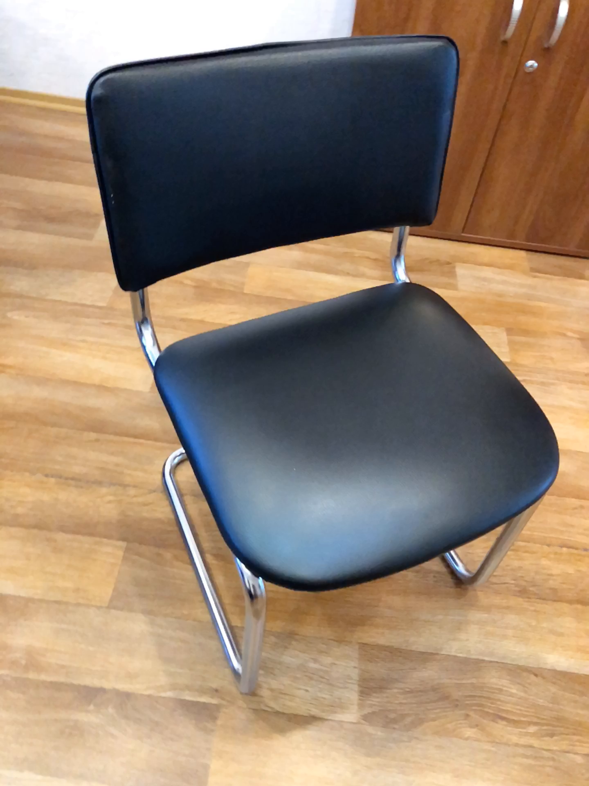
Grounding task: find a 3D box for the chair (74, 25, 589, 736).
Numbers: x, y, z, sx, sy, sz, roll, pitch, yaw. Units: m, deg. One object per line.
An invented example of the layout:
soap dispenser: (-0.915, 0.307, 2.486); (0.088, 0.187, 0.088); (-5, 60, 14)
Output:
chair: (0.064, 0.007, 0.900); (0.492, 0.745, 0.526); (-16, 53, -20)
